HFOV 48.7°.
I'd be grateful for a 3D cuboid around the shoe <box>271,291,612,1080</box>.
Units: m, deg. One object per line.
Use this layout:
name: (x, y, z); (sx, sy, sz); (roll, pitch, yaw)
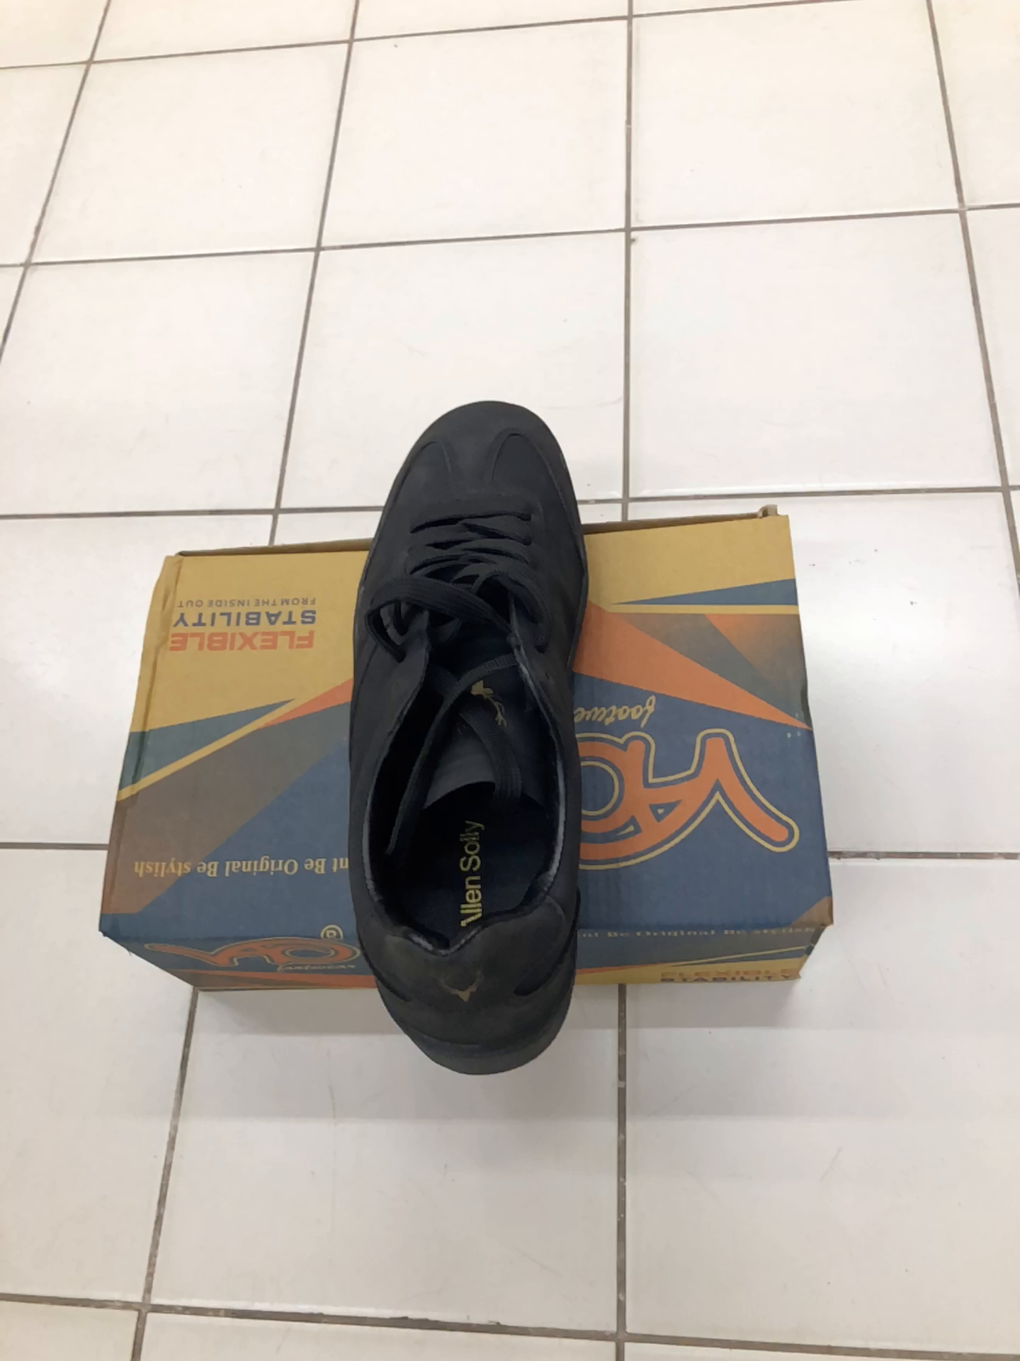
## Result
shoe: (-0.020, -0.004, 0.394); (0.090, 0.080, 0.261); (-5, 64, 5)
